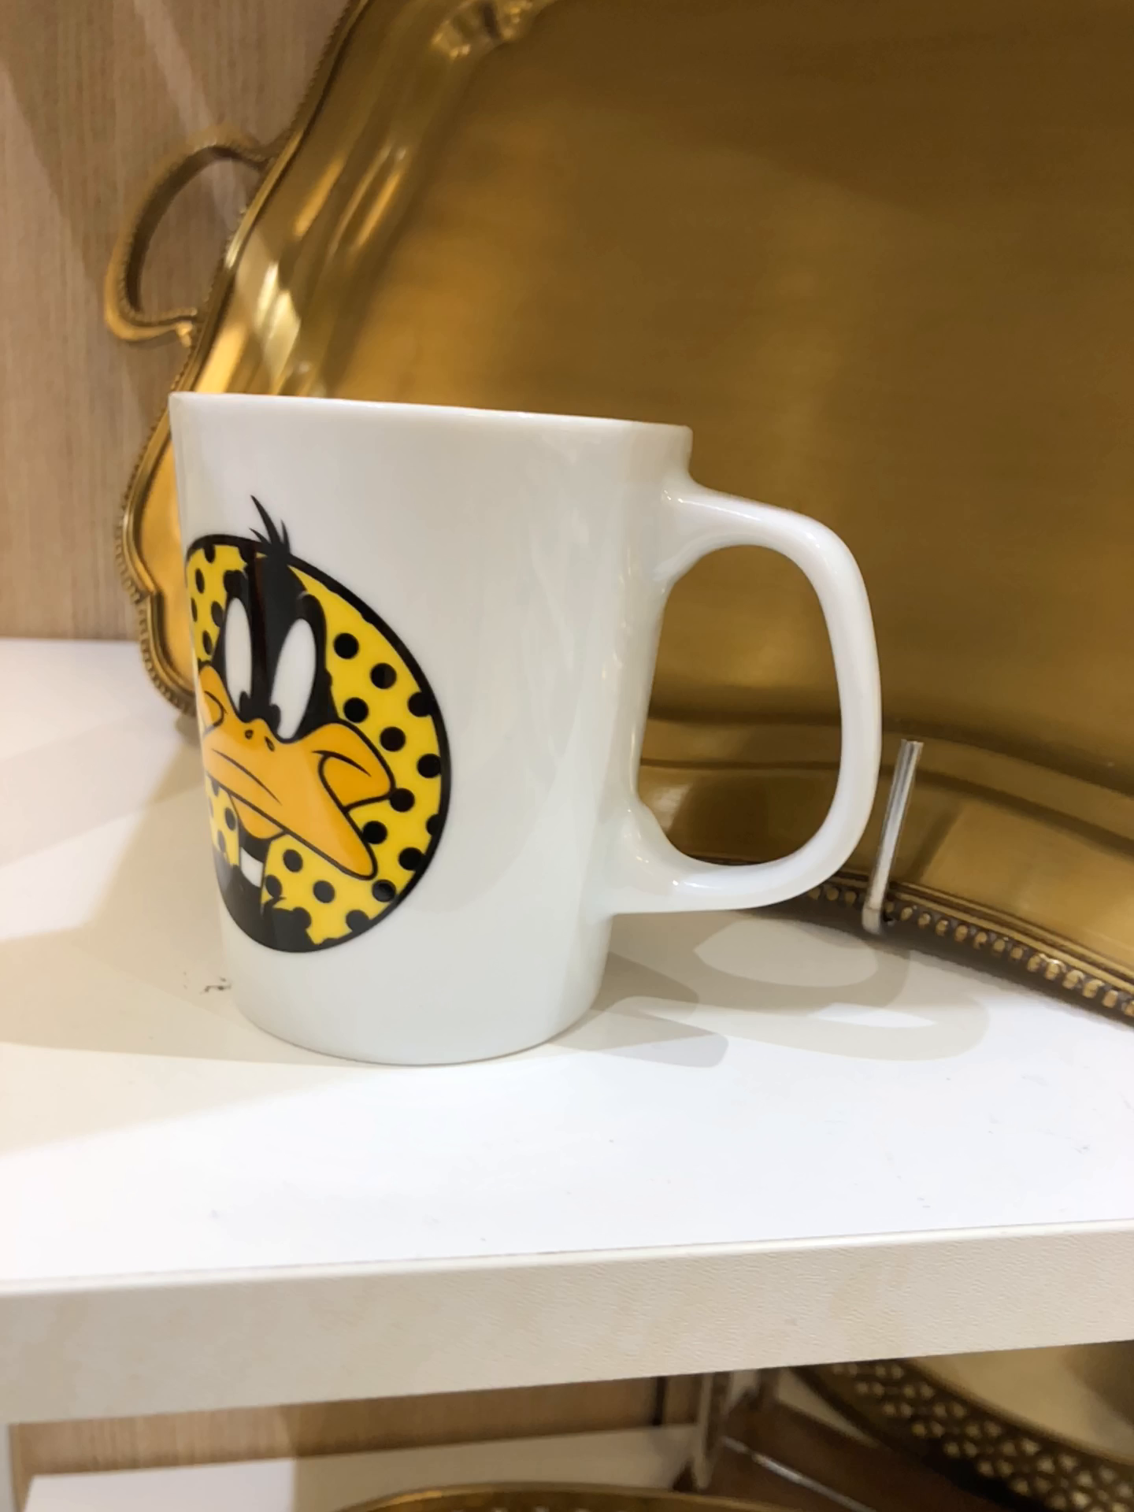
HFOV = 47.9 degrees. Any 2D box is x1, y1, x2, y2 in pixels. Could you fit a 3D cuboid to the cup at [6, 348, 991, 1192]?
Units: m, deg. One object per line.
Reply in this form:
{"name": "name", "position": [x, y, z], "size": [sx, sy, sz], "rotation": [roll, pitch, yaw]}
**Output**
{"name": "cup", "position": [-0.004, -0.011, 0.198], "size": [0.120, 0.090, 0.090], "rotation": [8, 15, 17]}
